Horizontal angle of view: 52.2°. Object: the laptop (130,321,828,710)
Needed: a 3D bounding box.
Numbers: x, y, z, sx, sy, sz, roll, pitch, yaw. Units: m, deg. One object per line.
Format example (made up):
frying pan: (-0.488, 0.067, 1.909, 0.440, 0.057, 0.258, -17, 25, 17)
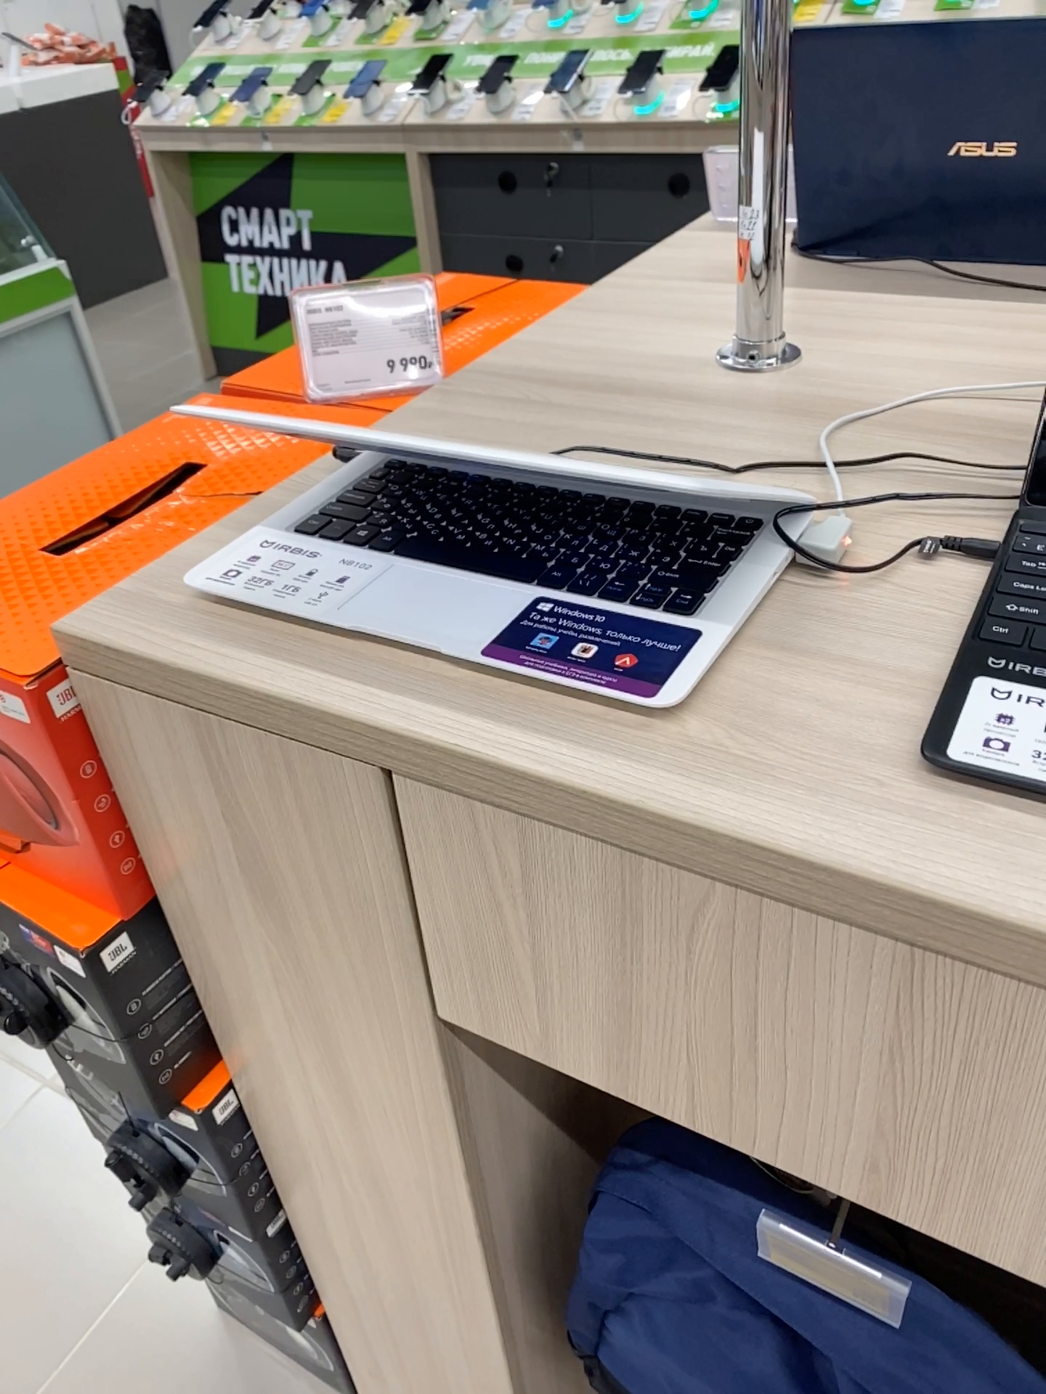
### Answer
laptop: (-0.019, -0.108, 0.525, 0.280, 0.078, 0.178, 15, 41, 28)
